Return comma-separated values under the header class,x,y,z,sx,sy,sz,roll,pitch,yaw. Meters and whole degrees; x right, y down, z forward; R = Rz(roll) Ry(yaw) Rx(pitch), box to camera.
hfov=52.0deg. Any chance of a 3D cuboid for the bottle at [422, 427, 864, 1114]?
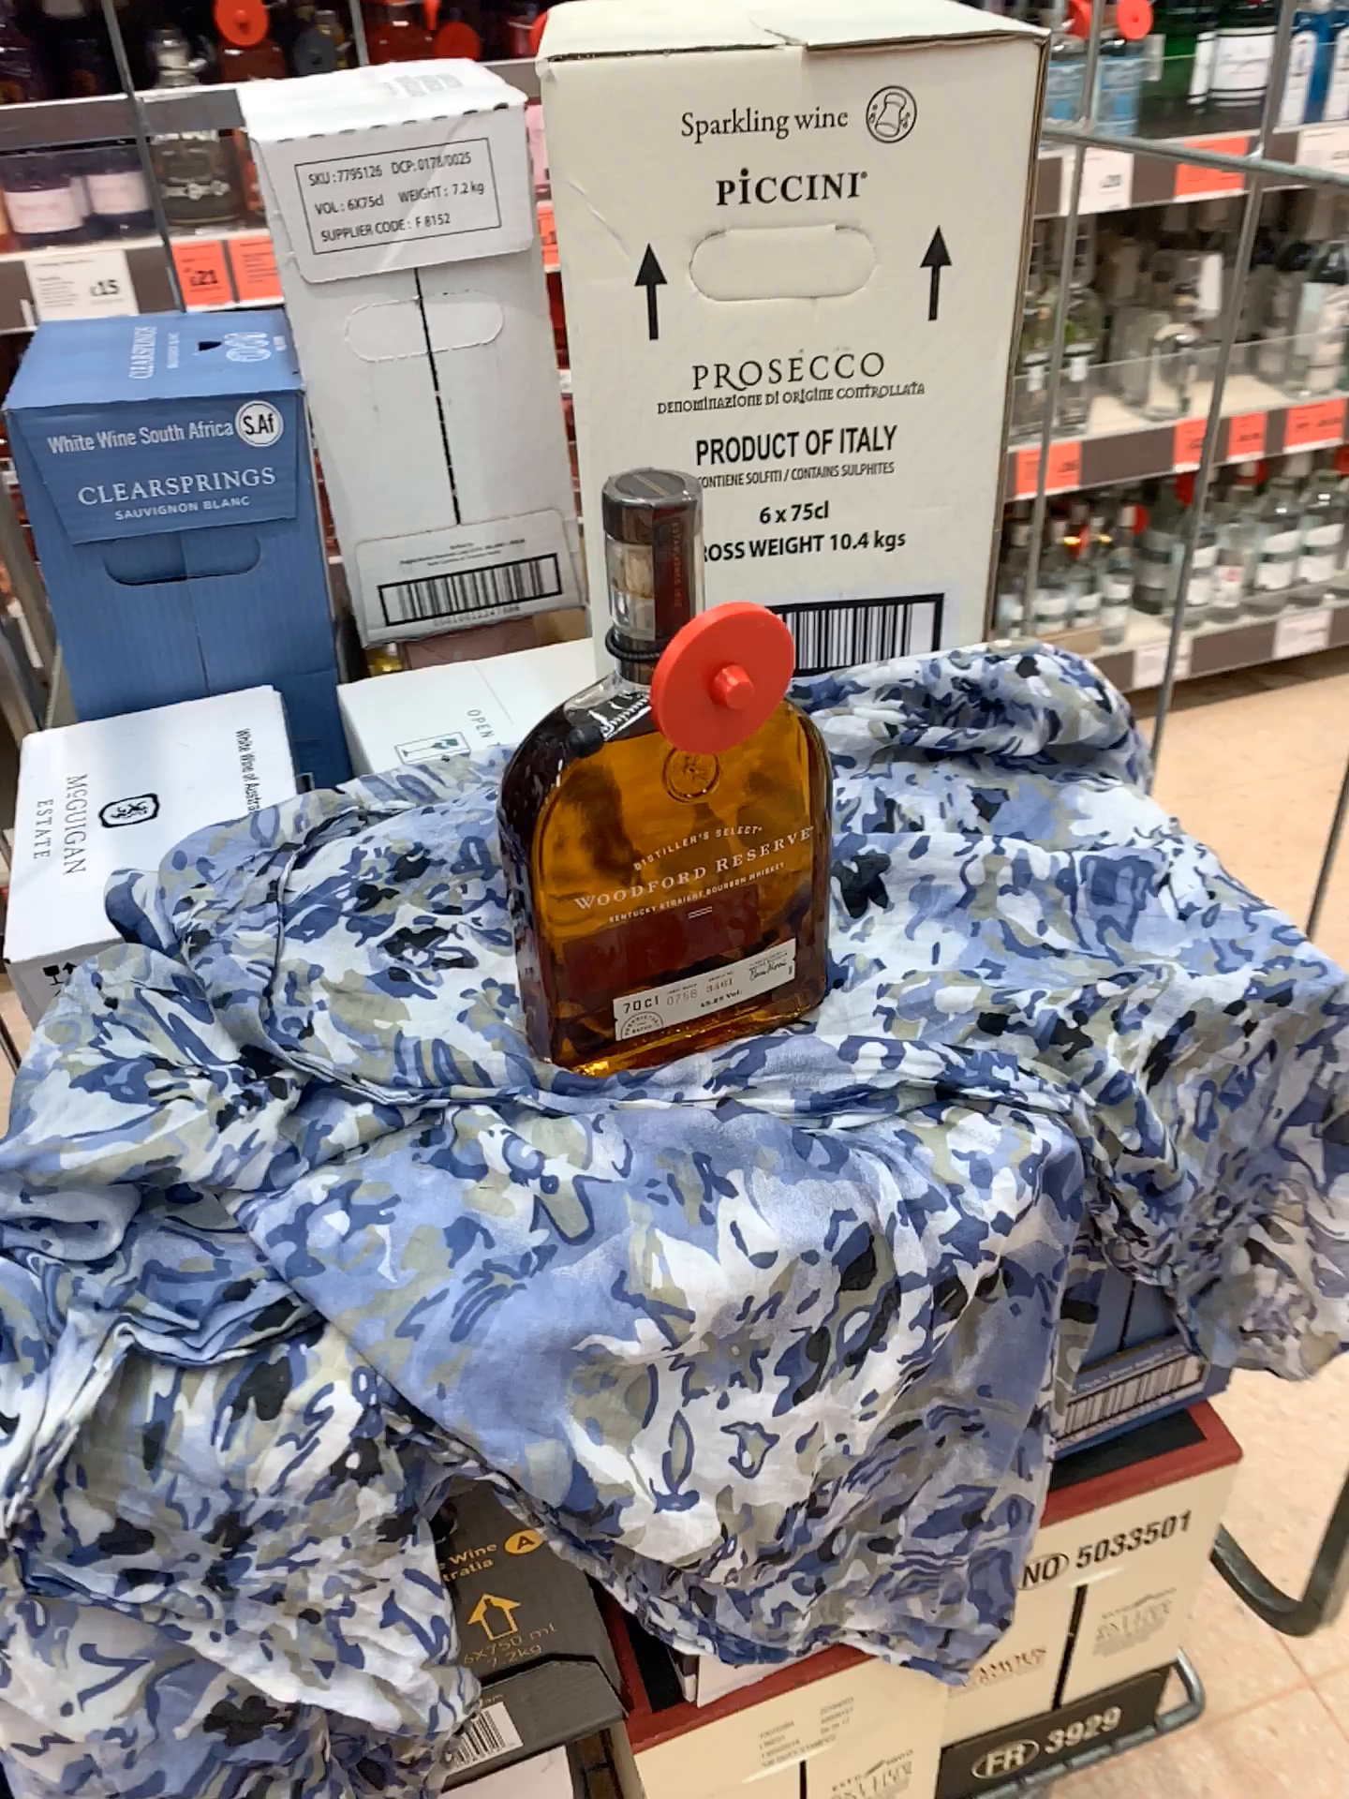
class,x,y,z,sx,sy,sz,roll,pitch,yaw
bottle,-0.003,-0.042,0.506,0.134,0.222,0.051,-17,36,-19
